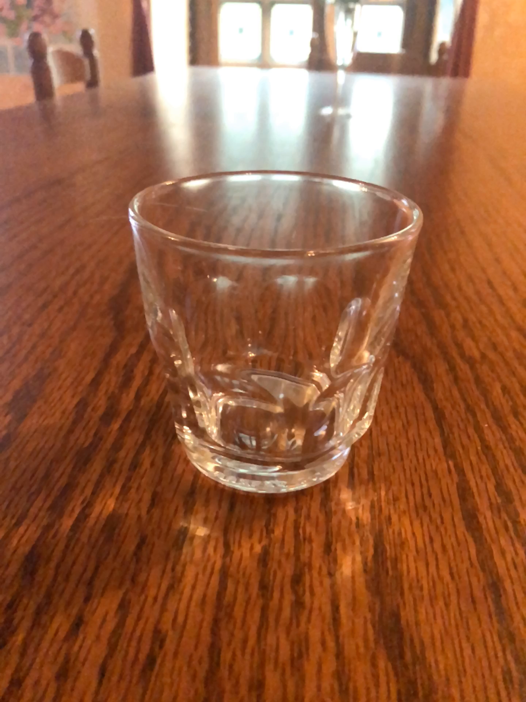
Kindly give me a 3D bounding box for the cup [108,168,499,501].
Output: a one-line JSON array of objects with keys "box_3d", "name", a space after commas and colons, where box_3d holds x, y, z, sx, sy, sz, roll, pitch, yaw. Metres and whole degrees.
[{"box_3d": [0.008, -0.010, 0.177, 0.083, 0.069, 0.083, 1, 28, -1], "name": "cup"}]
